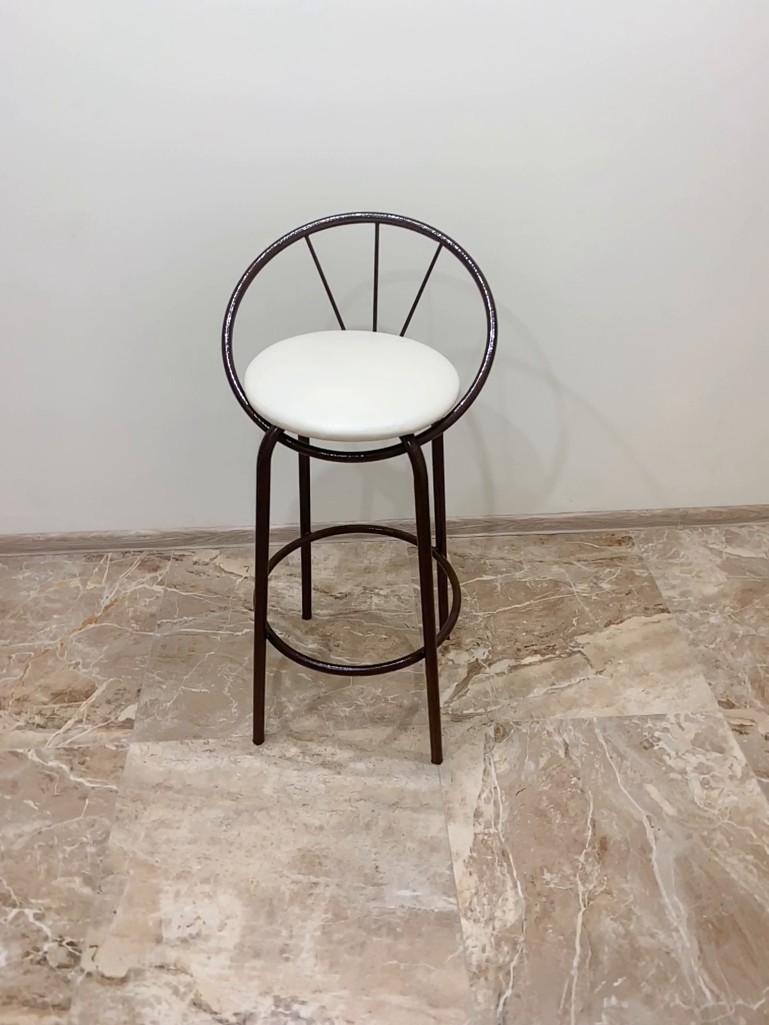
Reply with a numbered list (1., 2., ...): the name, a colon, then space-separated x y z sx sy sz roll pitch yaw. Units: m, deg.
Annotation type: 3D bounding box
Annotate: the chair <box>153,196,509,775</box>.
1. chair: -0.042 -0.018 1.282 0.400 0.835 0.402 5 37 6
